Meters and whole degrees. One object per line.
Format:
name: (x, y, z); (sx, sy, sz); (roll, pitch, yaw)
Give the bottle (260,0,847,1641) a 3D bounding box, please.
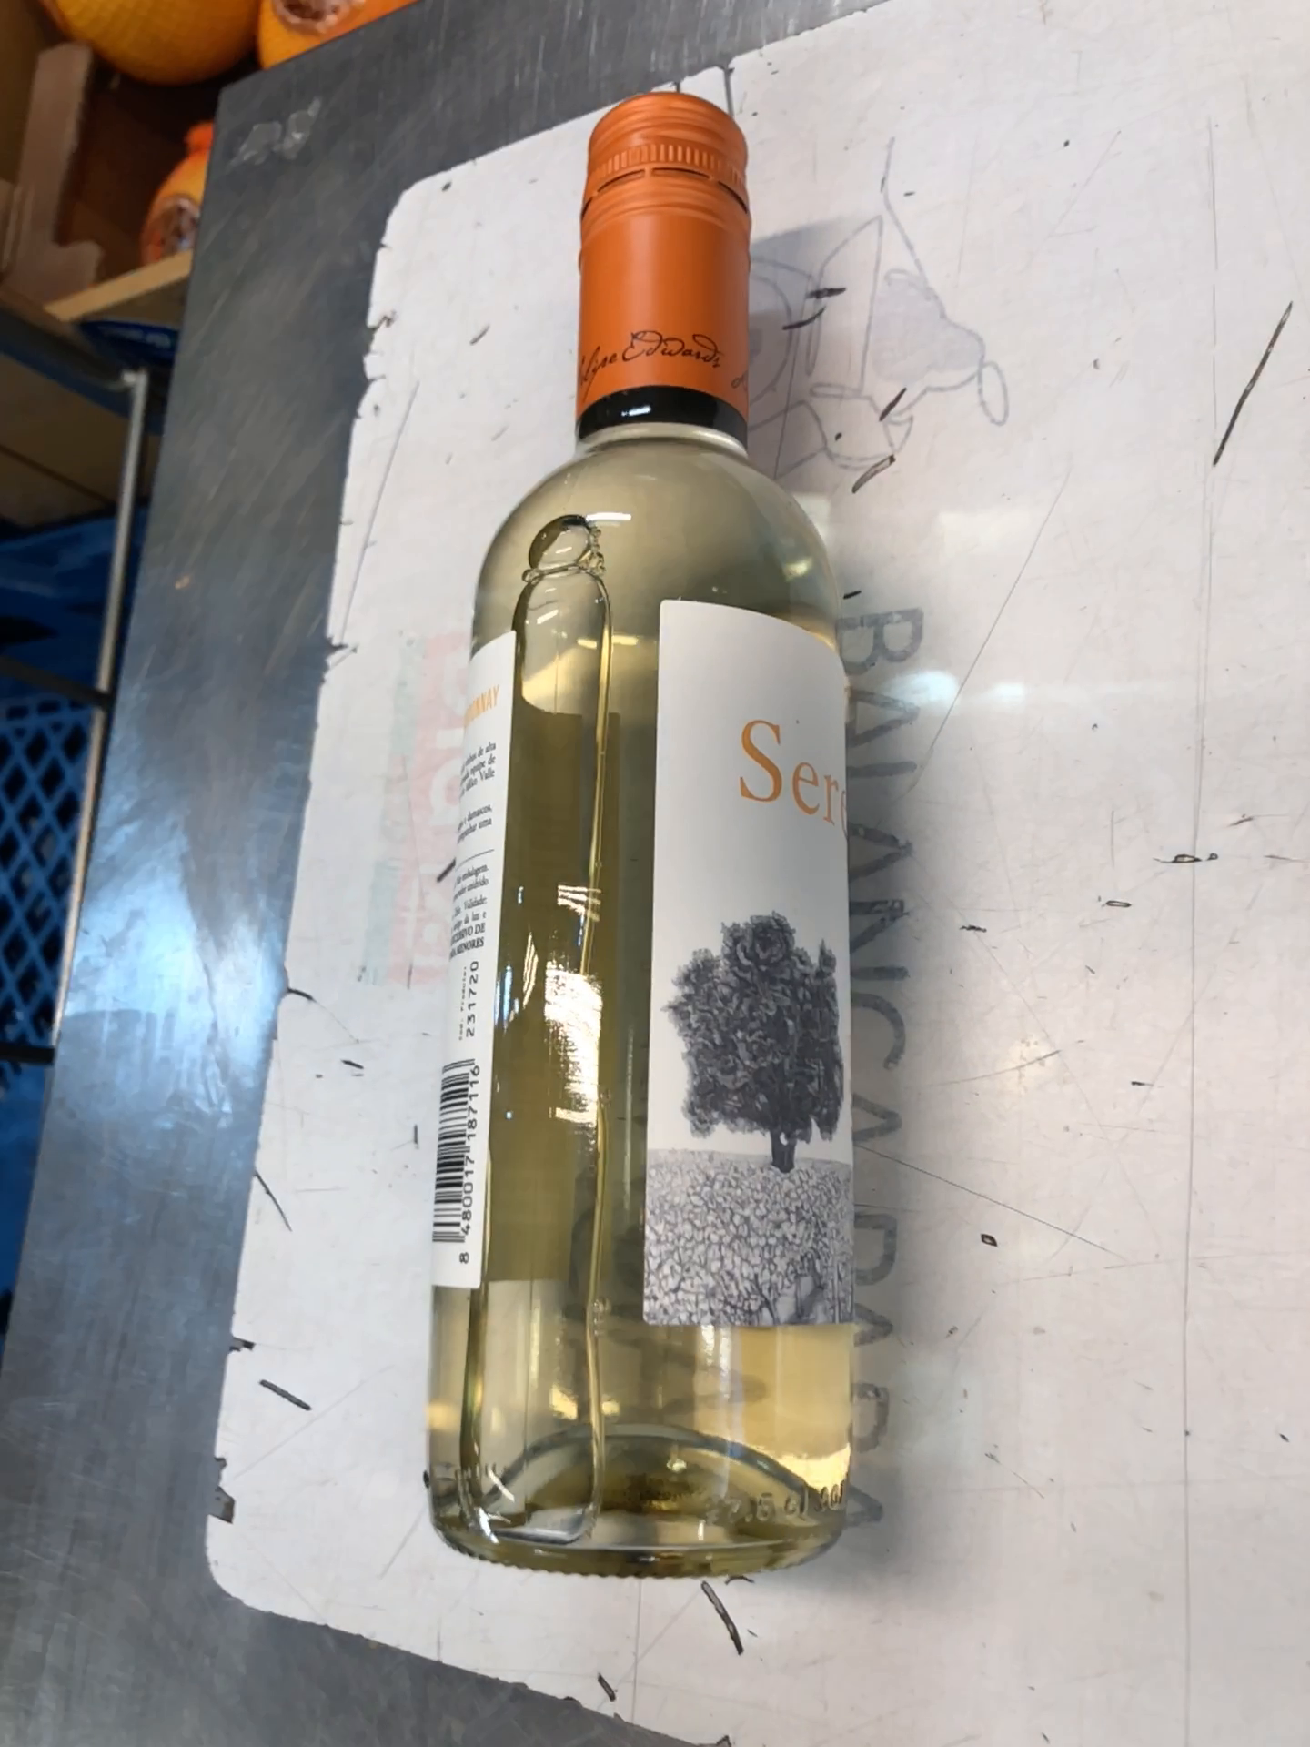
bottle: (-0.005, -0.033, 0.243); (0.070, 0.070, 0.270); (-1, 76, 10)
